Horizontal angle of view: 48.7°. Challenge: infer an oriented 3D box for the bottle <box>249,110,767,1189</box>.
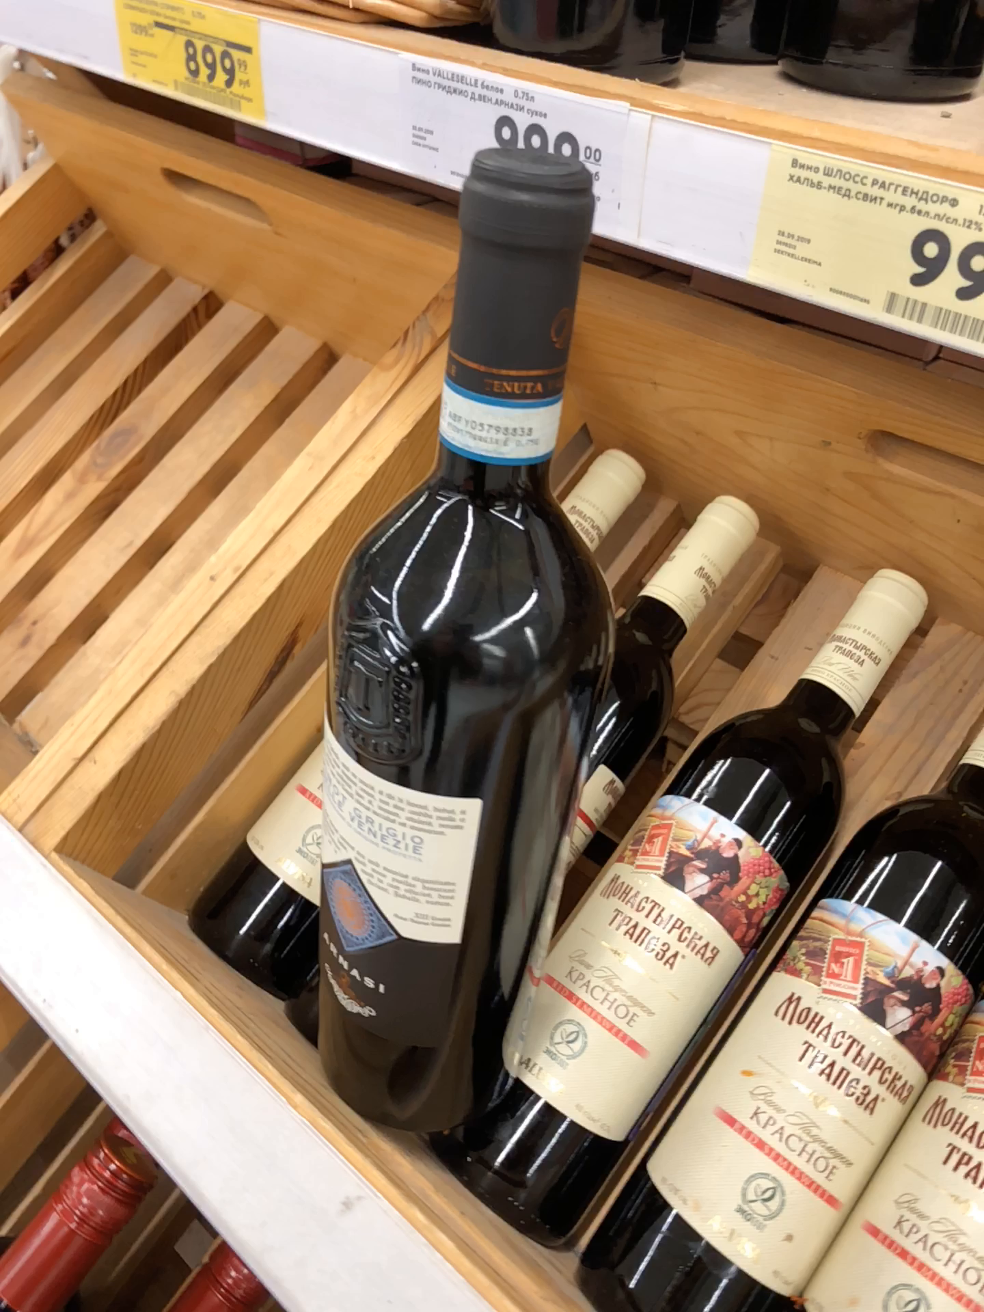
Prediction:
[{"bbox_3d":[-0.015,0.015,0.336,0.090,0.318,0.080,32,39,32],"label":"bottle"}]
